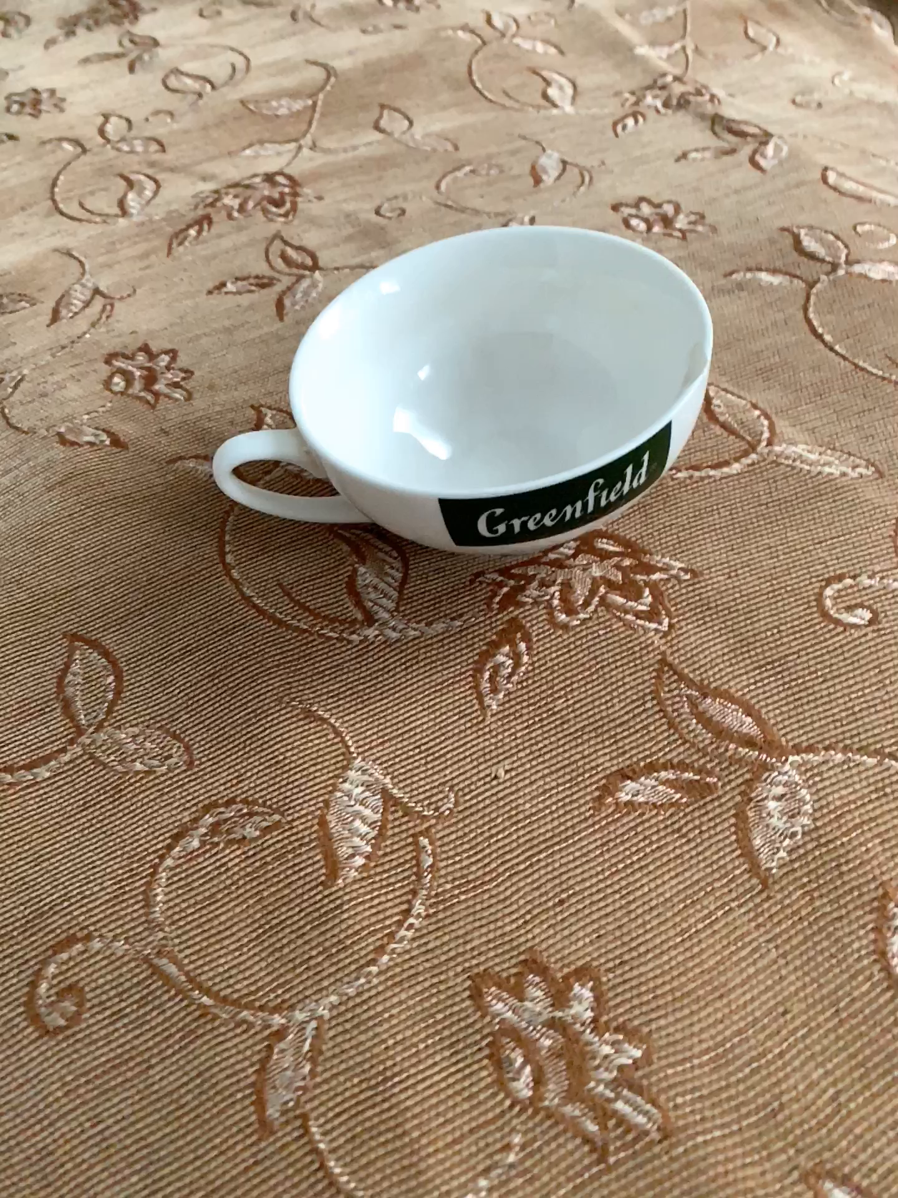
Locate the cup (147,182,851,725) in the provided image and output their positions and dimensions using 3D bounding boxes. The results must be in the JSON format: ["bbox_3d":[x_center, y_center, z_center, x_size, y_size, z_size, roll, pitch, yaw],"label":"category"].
[{"bbox_3d":[0.004,-0.046,0.240,0.140,0.040,0.111,-19,50,-7],"label":"cup"}]
